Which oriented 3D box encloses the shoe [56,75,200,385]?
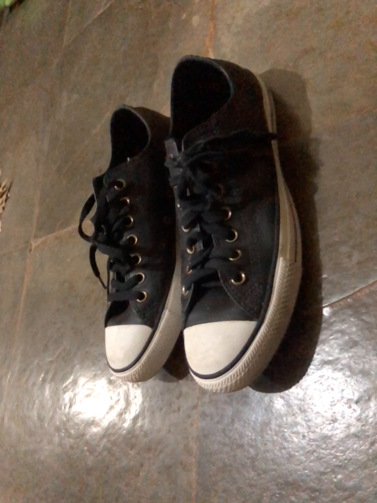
[{"bbox_3d":[-0.056,-0.018,0.430,0.100,0.080,0.291,-15,66,43],"label":"shoe"}]

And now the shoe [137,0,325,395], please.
[{"bbox_3d":[0.034,-0.046,0.351,0.110,0.080,0.311,-15,66,43],"label":"shoe"}]
